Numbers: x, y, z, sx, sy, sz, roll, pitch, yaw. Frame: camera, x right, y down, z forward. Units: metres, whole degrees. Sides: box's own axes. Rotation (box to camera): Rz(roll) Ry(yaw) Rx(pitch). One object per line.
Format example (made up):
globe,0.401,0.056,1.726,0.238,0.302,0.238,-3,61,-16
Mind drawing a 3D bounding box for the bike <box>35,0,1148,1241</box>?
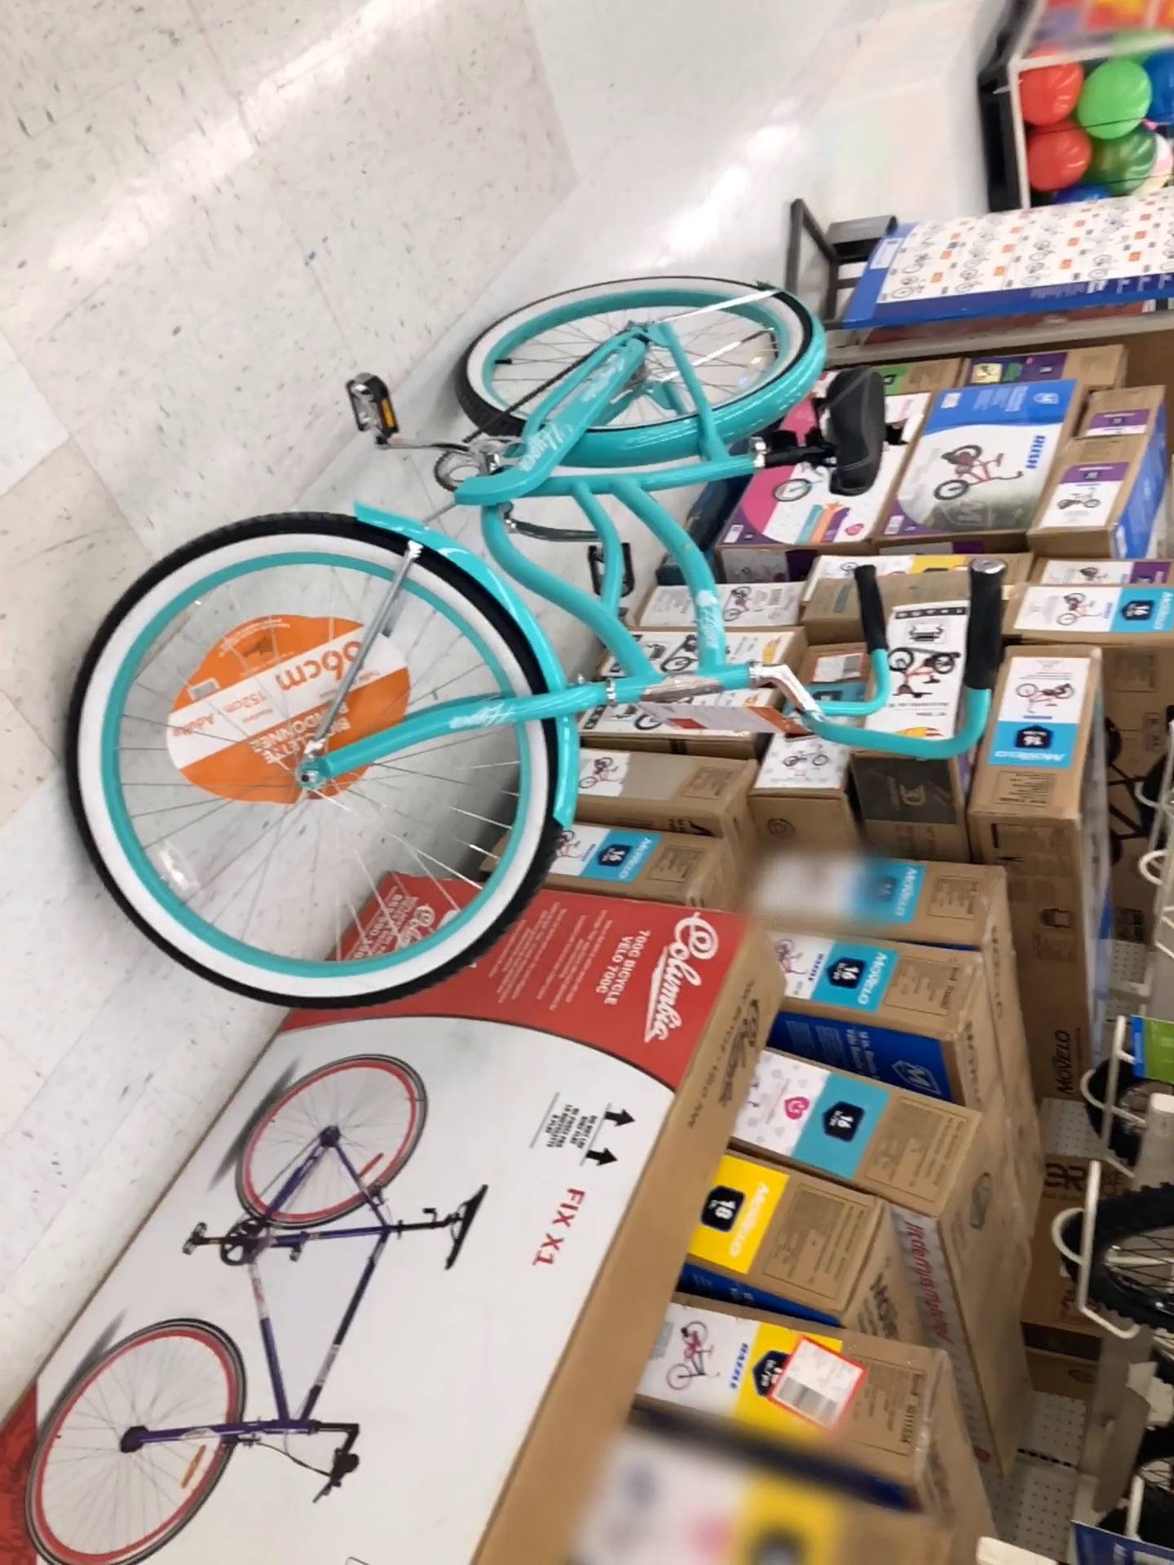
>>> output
bike,0.196,-0.361,2.011,0.854,1.153,1.584,60,42,-46
